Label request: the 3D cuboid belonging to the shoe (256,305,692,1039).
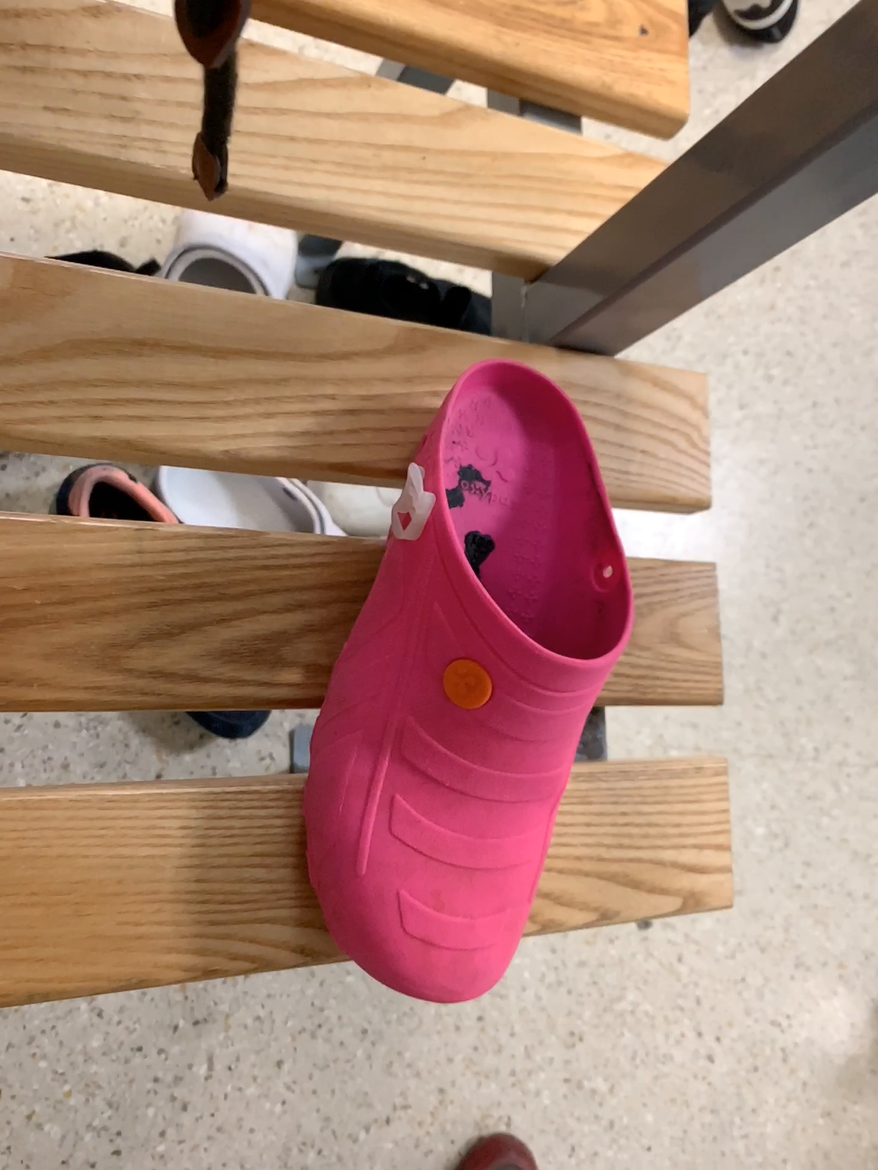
[{"bbox_3d":[0.015,0.029,0.323,0.096,0.068,0.221,17,76,-21],"label":"shoe"}]
